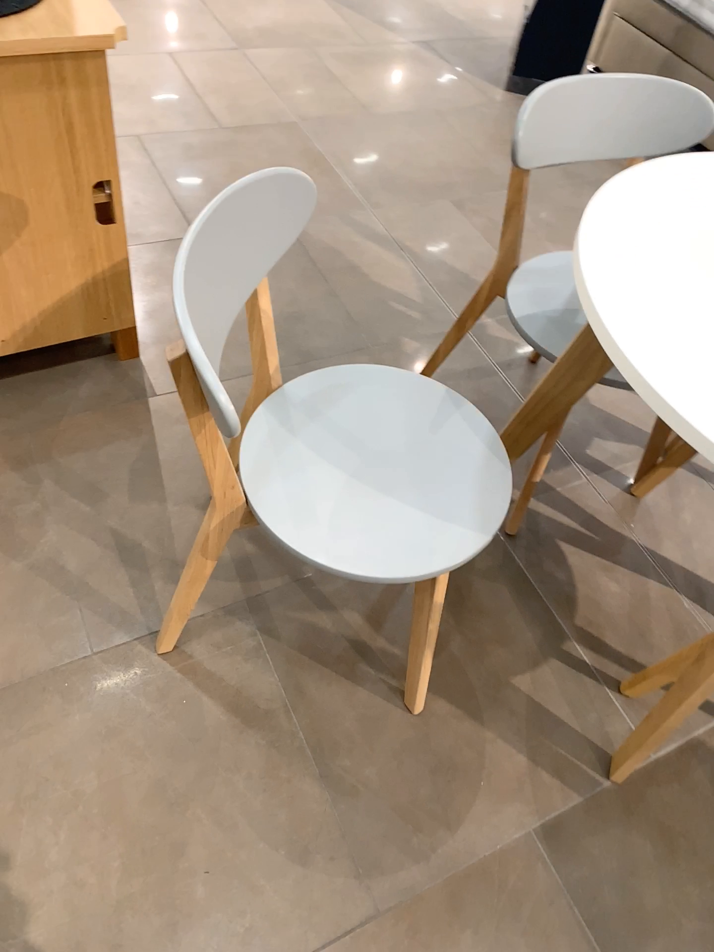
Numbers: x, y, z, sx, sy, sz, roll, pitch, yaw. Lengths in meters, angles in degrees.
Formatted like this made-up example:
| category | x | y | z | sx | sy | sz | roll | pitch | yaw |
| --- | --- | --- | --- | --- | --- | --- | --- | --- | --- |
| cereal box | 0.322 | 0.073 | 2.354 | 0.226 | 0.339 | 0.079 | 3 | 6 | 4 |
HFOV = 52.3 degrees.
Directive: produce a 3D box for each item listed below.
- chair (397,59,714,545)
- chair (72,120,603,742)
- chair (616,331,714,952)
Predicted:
| category | x | y | z | sx | sy | sz | roll | pitch | yaw |
| --- | --- | --- | --- | --- | --- | --- | --- | --- | --- |
| chair | 0.513 | -0.357 | 1.590 | 0.520 | 0.799 | 0.543 | -16 | 56 | -22 |
| chair | -0.040 | -0.010 | 1.186 | 0.530 | 0.799 | 0.524 | 12 | 50 | -1 |
| chair | 0.923 | 0.306 | 1.103 | 0.520 | 0.799 | 0.544 | -14 | 56 | -21 |
